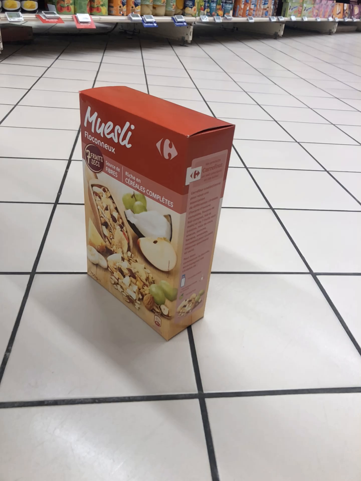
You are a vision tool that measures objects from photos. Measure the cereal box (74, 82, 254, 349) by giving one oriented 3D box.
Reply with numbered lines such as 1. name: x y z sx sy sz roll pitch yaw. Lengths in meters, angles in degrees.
1. cereal box: -0.032 -0.032 0.443 0.080 0.239 0.170 -24 43 -39
